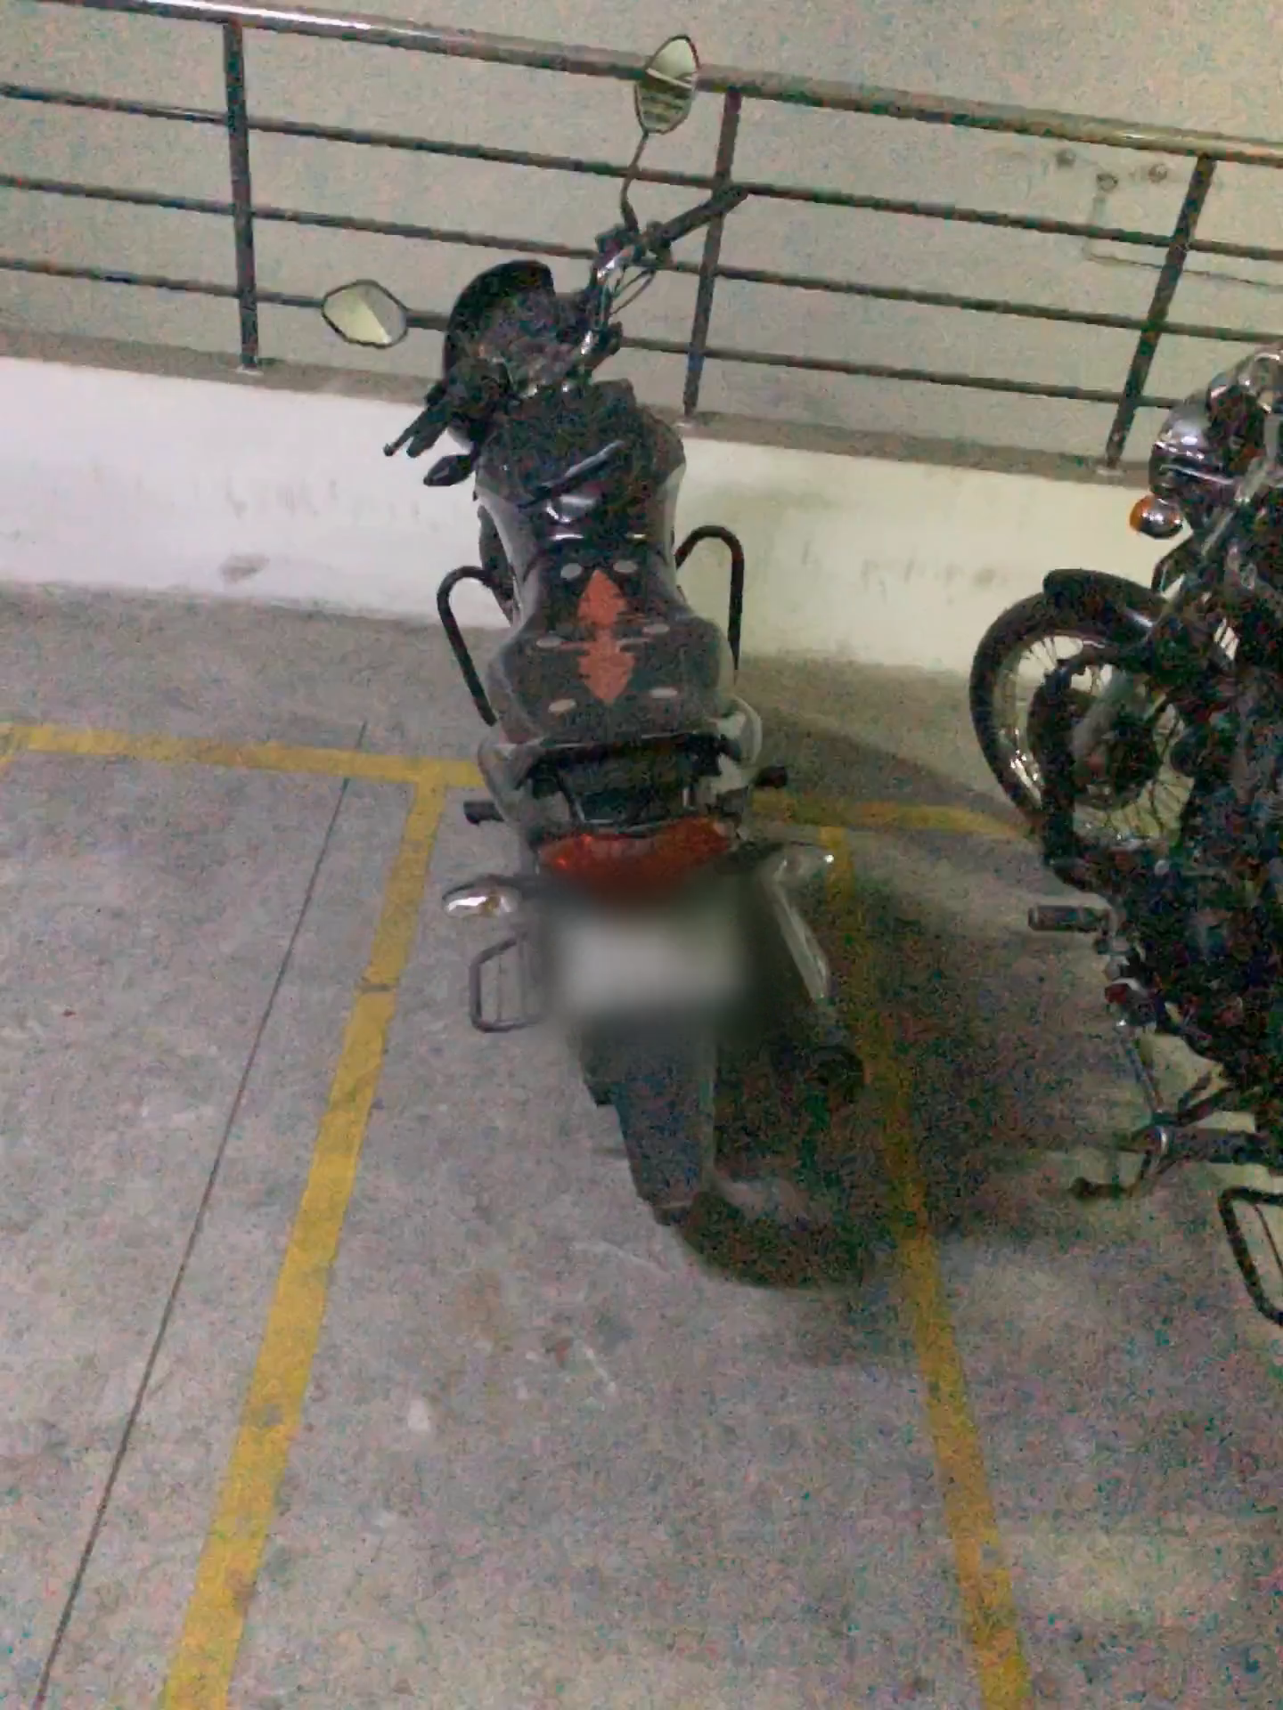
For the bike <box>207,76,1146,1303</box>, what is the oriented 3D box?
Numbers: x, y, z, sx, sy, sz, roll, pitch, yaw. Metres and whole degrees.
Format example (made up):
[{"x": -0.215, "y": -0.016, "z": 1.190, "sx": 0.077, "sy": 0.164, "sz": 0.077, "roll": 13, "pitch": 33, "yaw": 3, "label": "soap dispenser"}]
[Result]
[{"x": -0.211, "y": -0.397, "z": 1.970, "sx": 0.755, "sy": 1.067, "sz": 1.685, "roll": -2, "pitch": 37, "yaw": -14, "label": "bike"}]
